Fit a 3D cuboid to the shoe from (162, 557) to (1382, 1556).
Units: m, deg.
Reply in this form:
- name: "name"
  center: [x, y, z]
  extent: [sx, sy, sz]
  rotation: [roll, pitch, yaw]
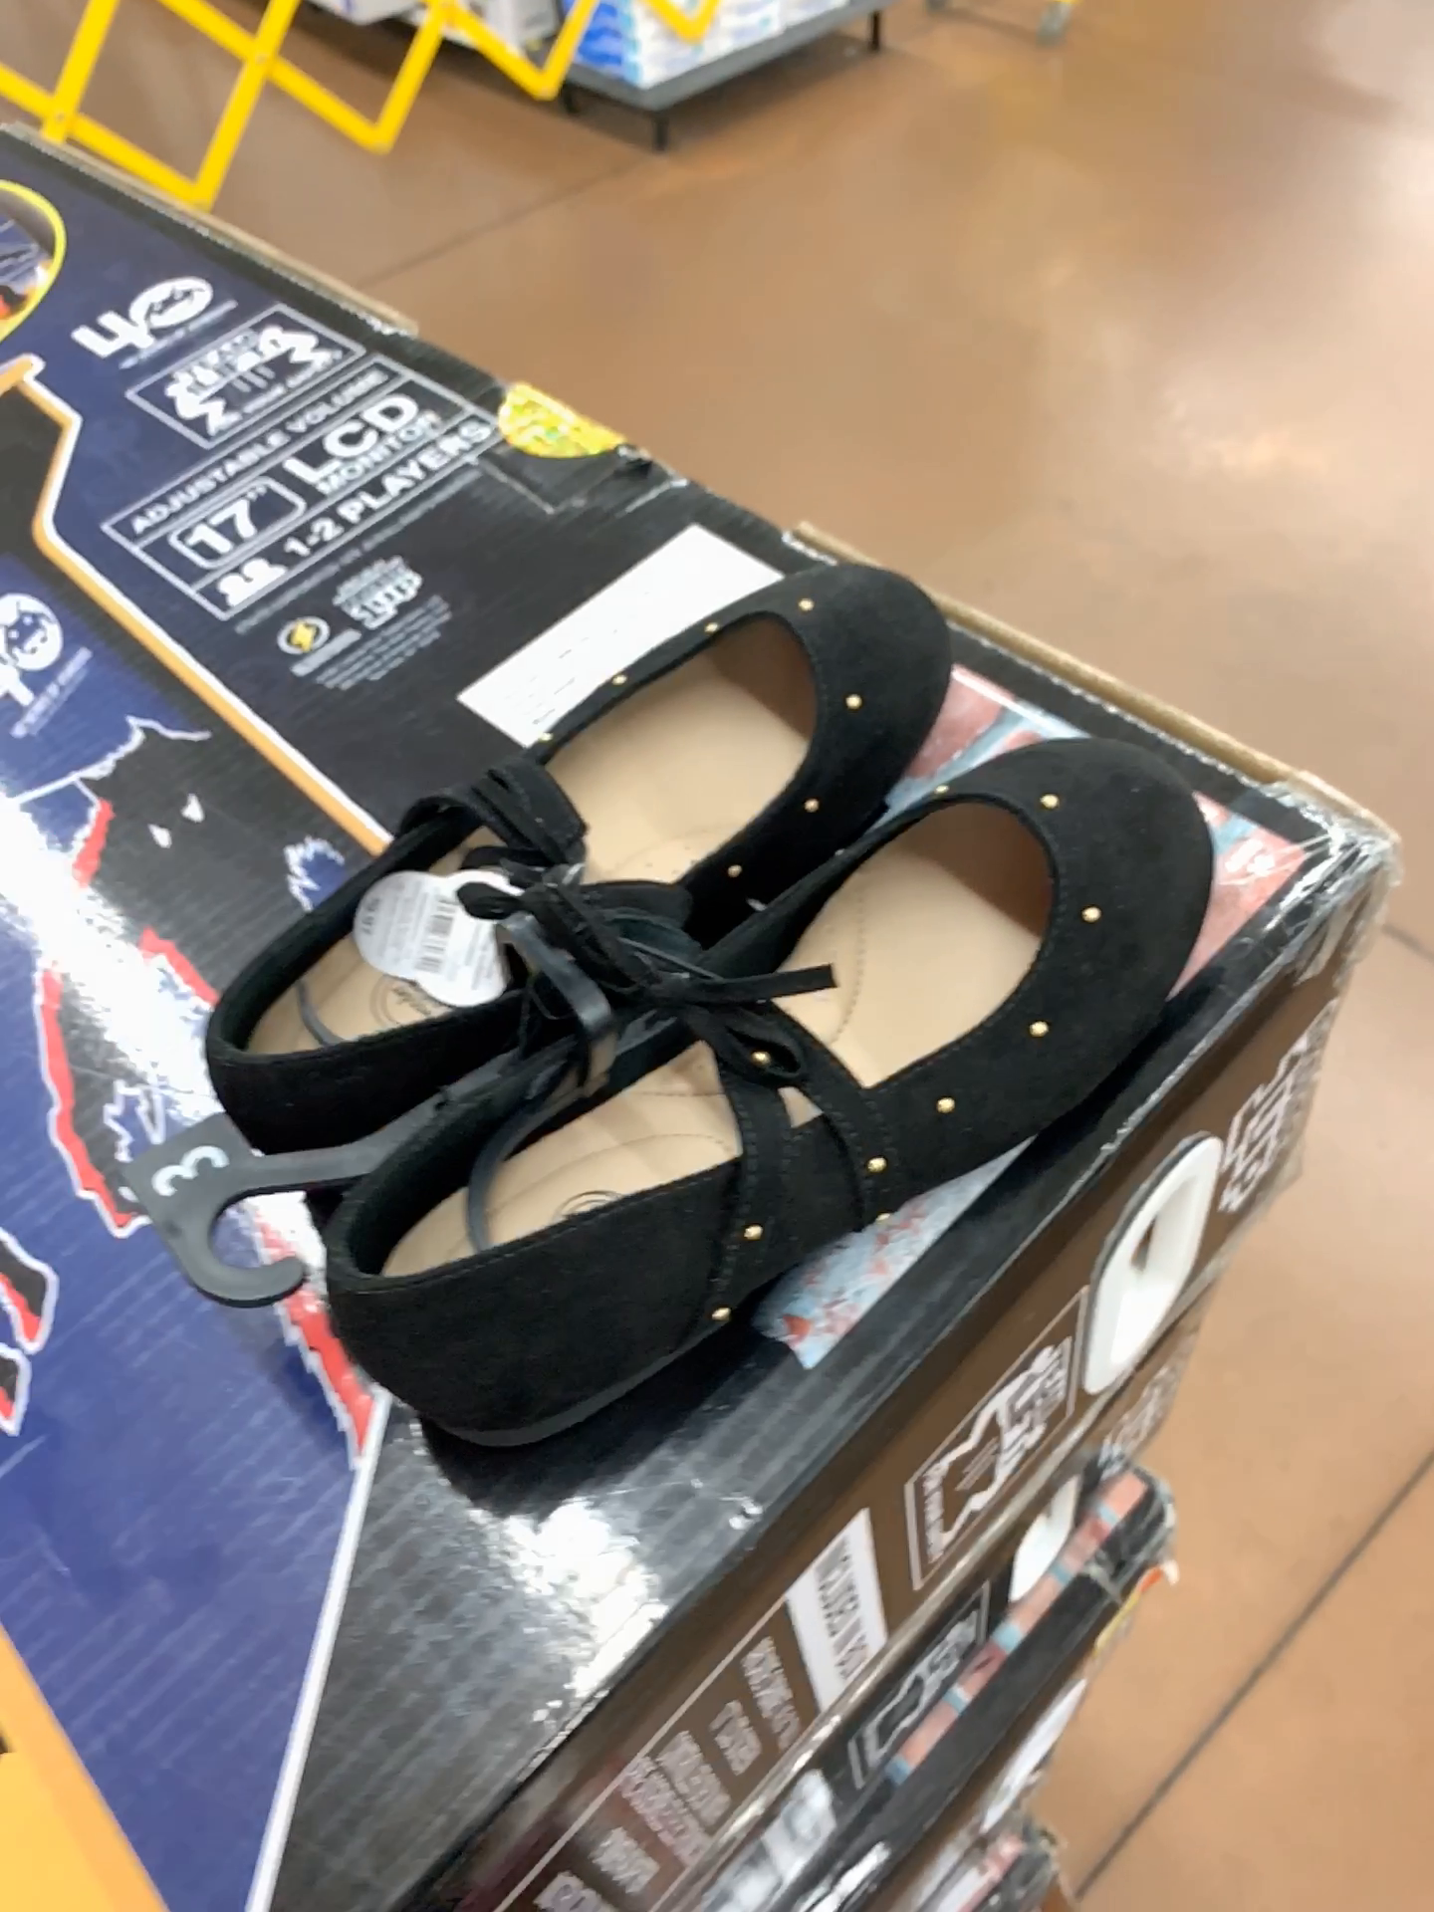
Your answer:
- name: "shoe"
  center: [0.019, 0.010, 0.328]
  extent: [0.240, 0.070, 0.090]
  rotation: [-31, 54, -18]

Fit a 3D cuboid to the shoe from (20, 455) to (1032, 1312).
- name: "shoe"
  center: [-0.036, -0.032, 0.396]
  extent: [0.250, 0.070, 0.090]
  rotation: [-37, 57, -23]
